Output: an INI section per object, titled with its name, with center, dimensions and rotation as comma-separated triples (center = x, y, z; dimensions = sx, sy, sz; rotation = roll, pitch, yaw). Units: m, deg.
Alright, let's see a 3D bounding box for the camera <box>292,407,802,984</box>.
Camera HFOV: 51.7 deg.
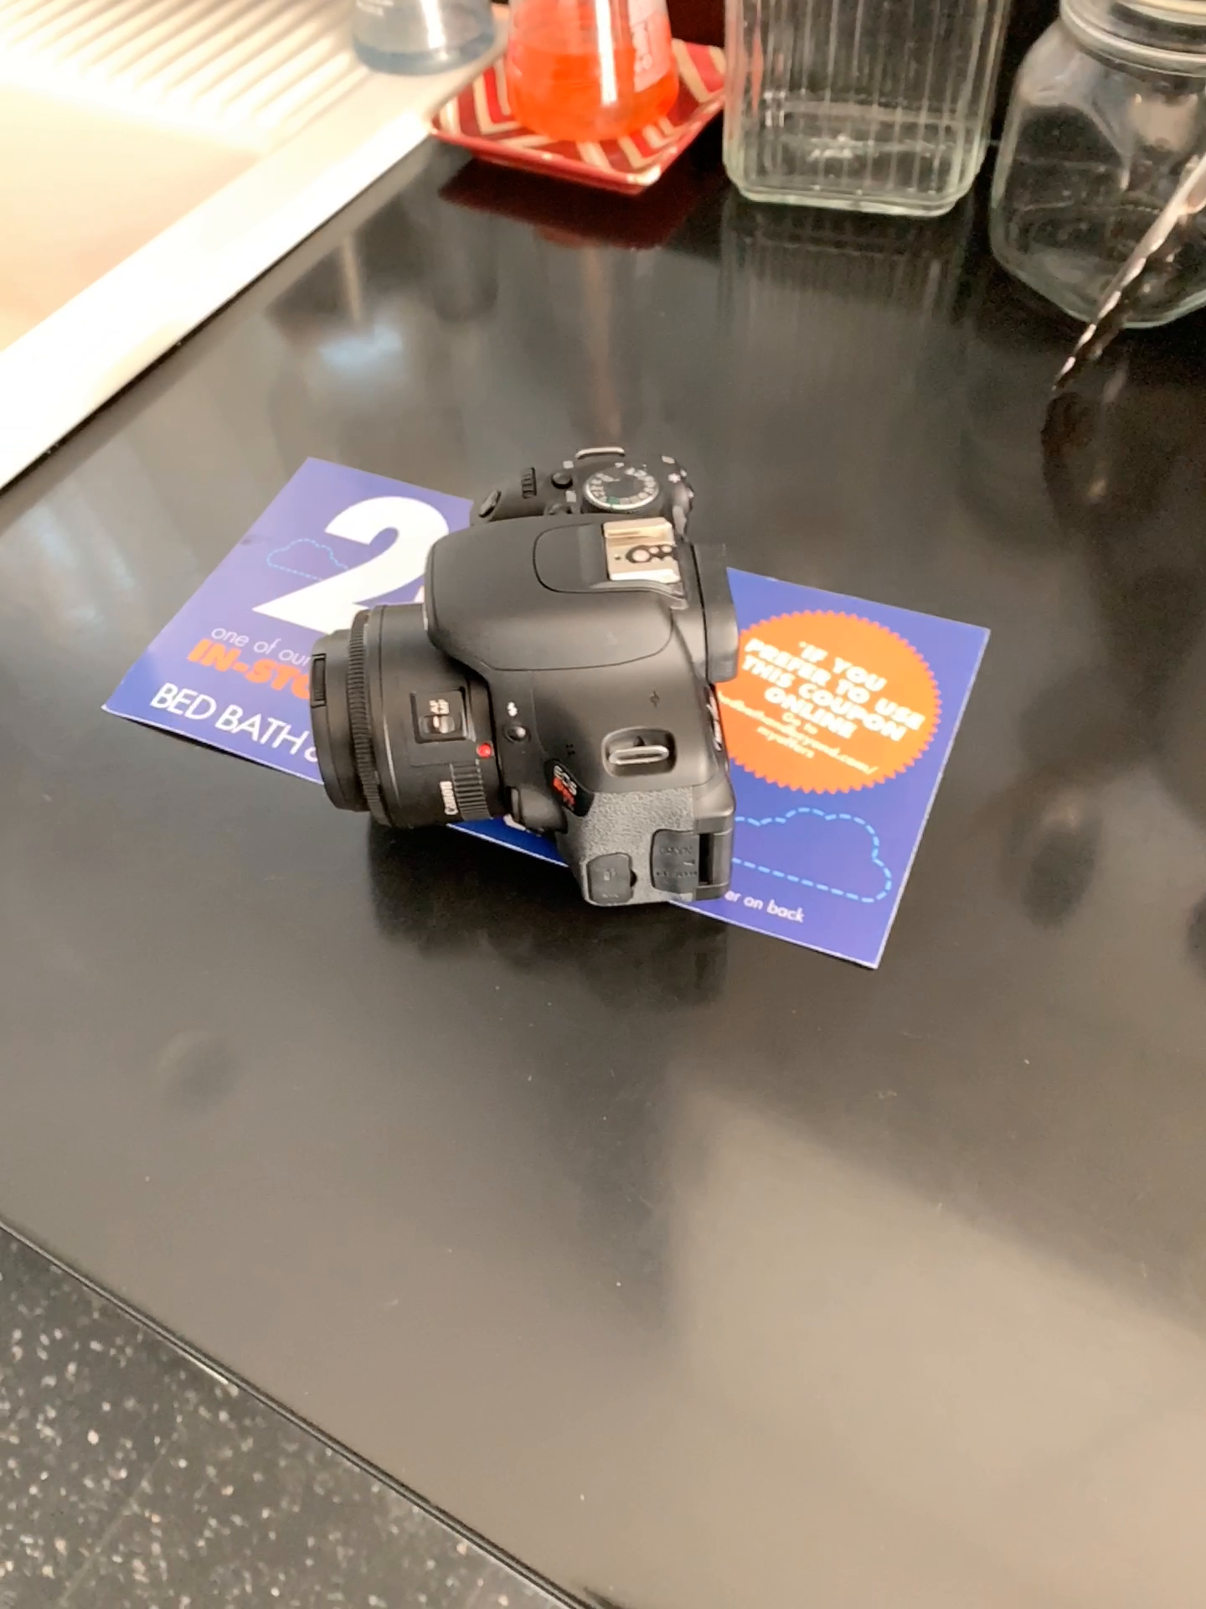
[camera]
center = -0.018, -0.035, 0.376
dimensions = 0.124, 0.085, 0.140
rotation = -6, 54, -1
